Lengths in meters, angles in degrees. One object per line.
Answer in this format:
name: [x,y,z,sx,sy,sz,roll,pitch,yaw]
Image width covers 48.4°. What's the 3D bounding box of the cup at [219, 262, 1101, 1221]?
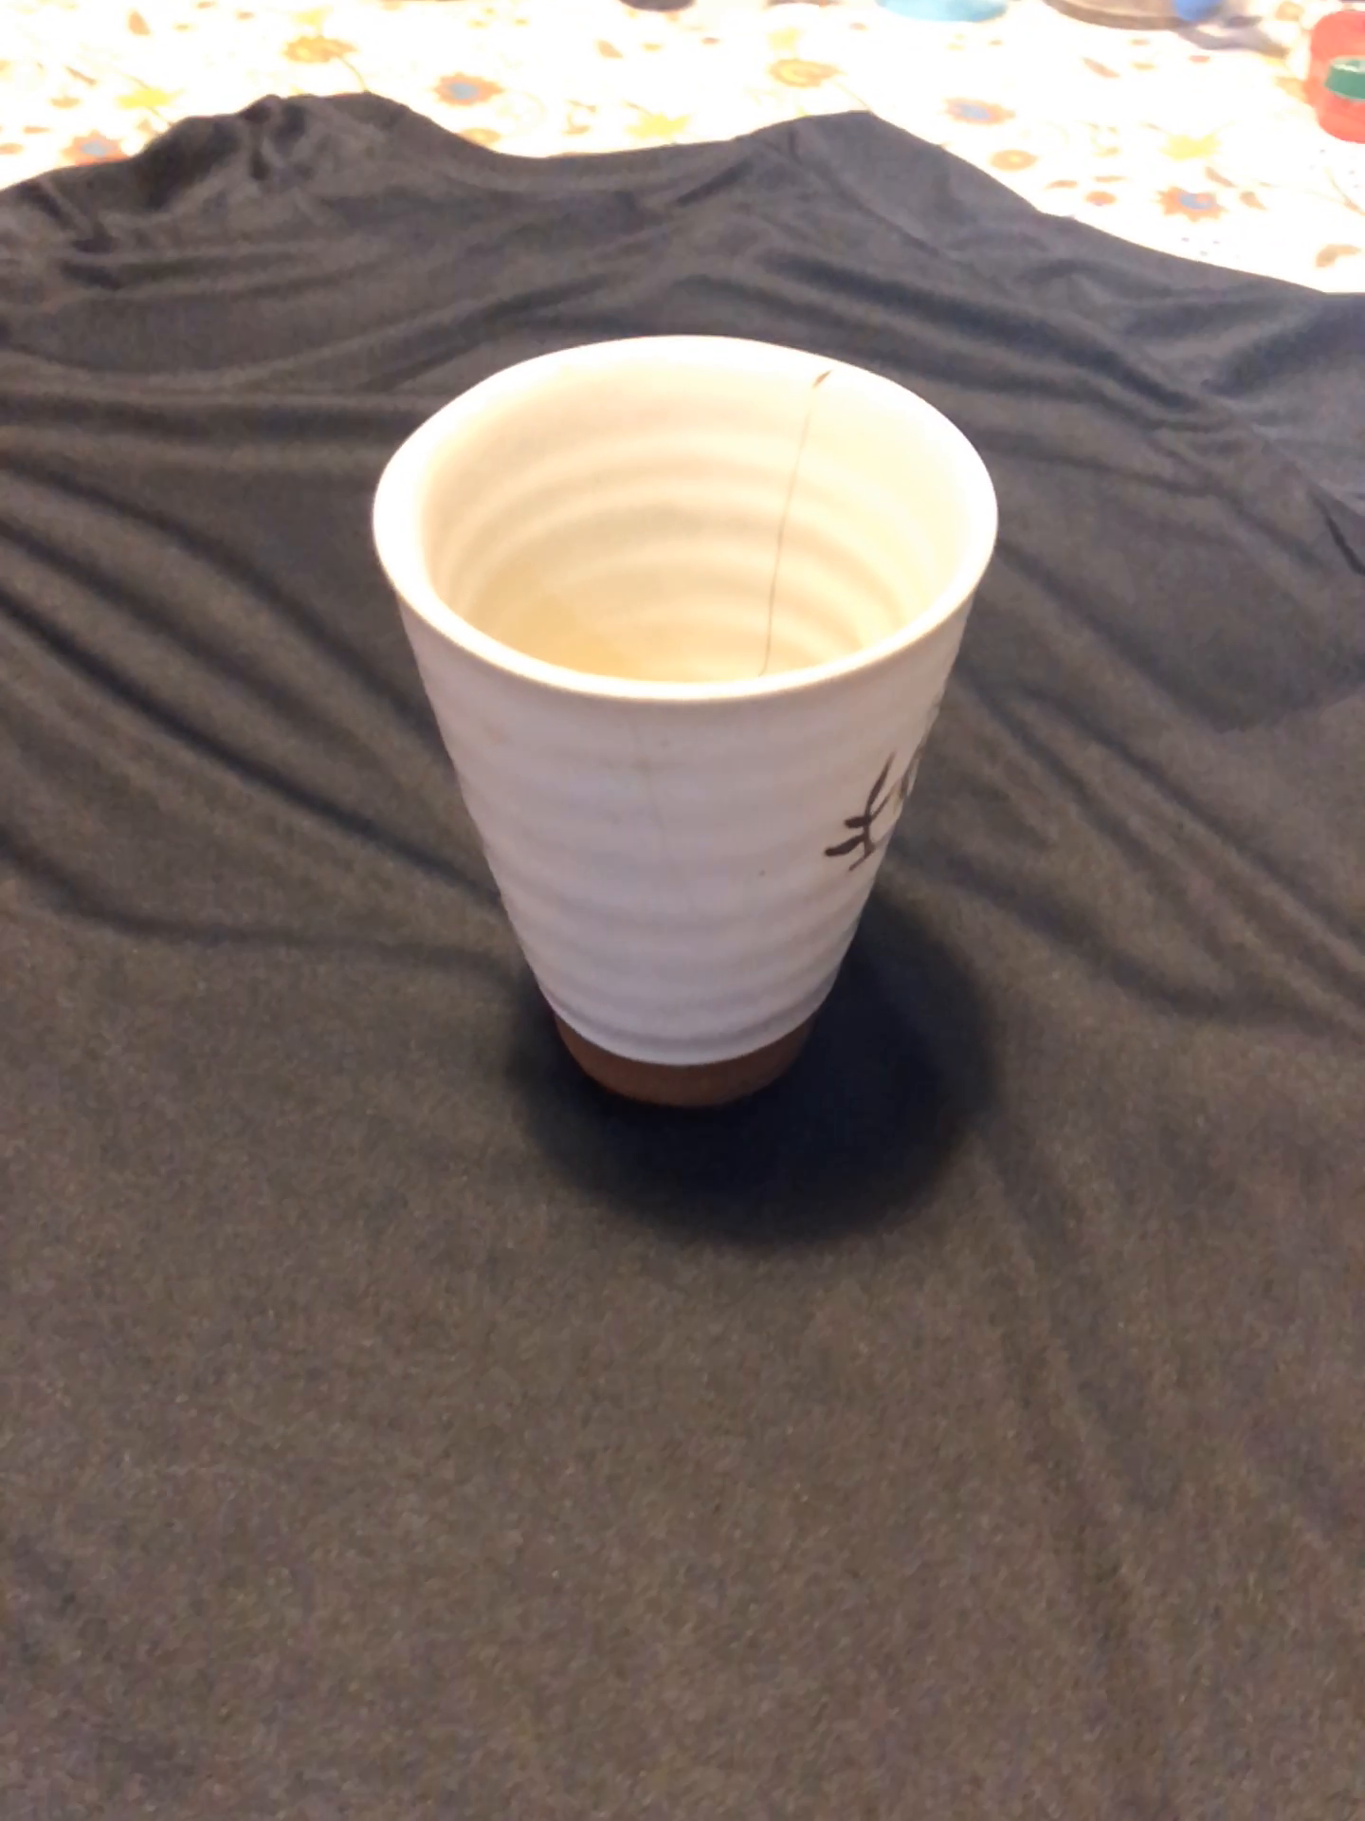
cup: [0.001,-0.026,0.236,0.090,0.099,0.080,18,52,15]
